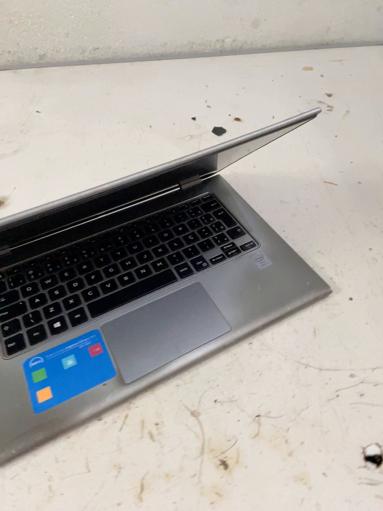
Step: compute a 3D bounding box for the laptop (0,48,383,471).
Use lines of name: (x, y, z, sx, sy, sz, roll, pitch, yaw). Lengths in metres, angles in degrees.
laptop: (-0.058, -0.027, 0.345, 0.327, 0.155, 0.219, -23, 51, -17)
